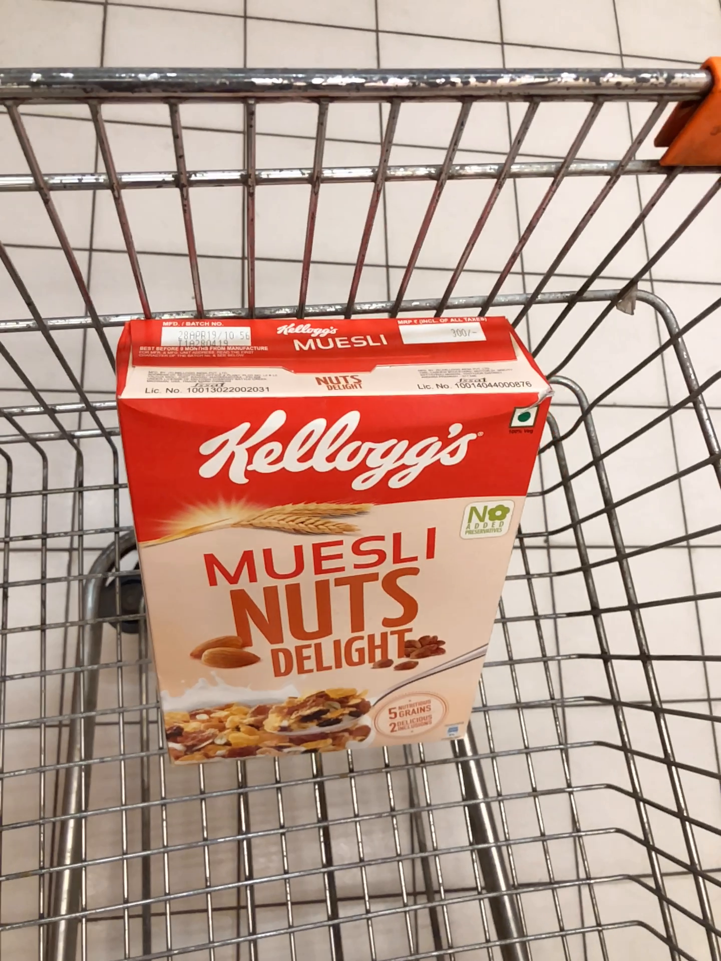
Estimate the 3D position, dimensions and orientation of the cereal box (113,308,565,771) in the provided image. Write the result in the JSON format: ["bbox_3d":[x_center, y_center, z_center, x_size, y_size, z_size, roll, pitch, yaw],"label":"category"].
[{"bbox_3d":[-0.018,0.041,0.418,0.180,0.249,0.070,-2,38,-9],"label":"cereal box"}]
